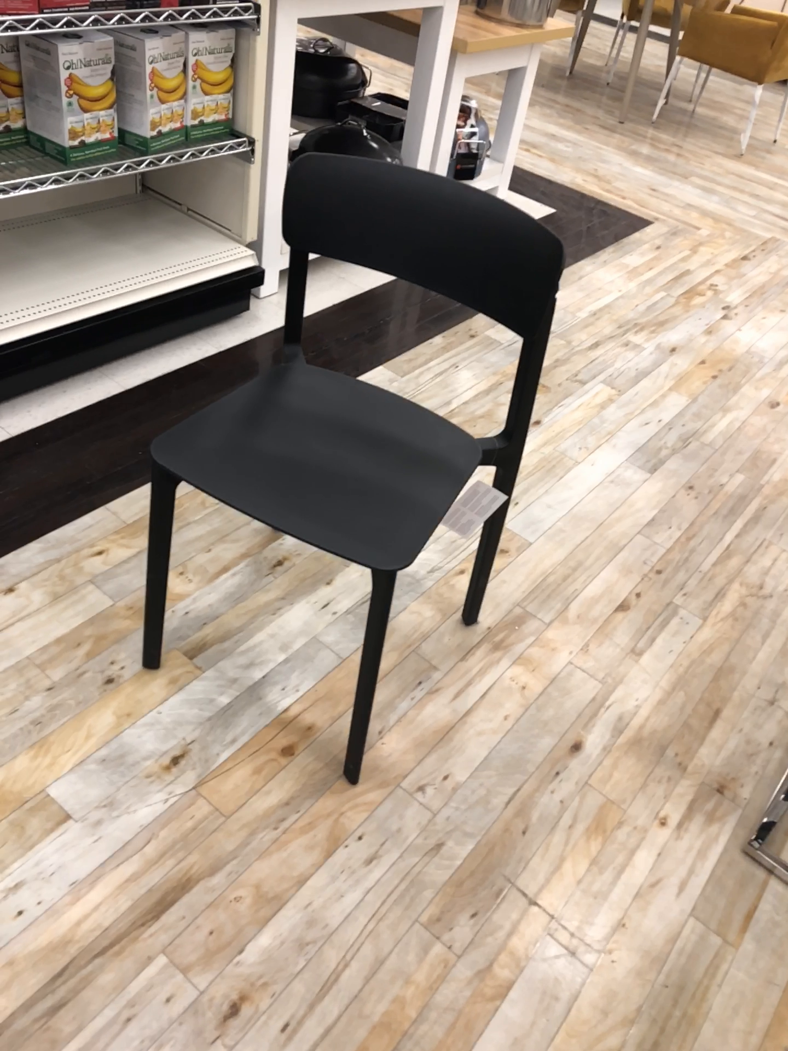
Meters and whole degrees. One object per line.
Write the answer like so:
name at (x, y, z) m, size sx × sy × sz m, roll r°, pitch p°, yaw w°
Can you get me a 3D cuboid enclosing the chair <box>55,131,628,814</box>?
chair at (-0.077, -0.092, 1.280) m, size 0.500 × 0.707 × 0.542 m, roll 25°, pitch 42°, yaw 15°
